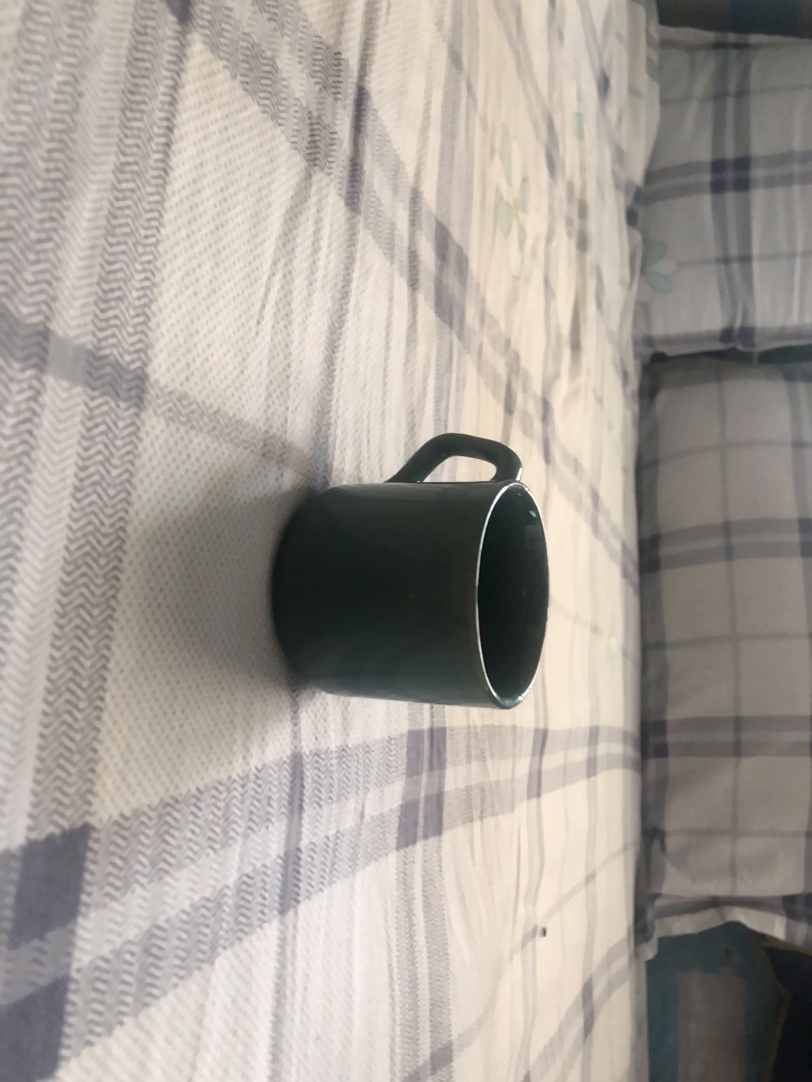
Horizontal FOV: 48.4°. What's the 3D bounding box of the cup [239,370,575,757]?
[{"bbox_3d":[0.008,0.004,0.252,0.080,0.060,0.070,-64,147,-51],"label":"cup"}]
